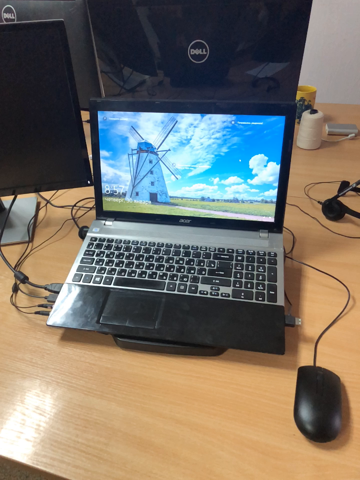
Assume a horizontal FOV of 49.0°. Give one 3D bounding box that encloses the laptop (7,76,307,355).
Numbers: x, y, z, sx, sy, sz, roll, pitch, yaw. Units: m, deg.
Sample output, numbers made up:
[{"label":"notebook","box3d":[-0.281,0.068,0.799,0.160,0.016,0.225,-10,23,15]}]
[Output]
[{"label":"laptop","box3d":[-0.007,-0.070,0.658,0.373,0.211,0.361,5,46,9]}]
